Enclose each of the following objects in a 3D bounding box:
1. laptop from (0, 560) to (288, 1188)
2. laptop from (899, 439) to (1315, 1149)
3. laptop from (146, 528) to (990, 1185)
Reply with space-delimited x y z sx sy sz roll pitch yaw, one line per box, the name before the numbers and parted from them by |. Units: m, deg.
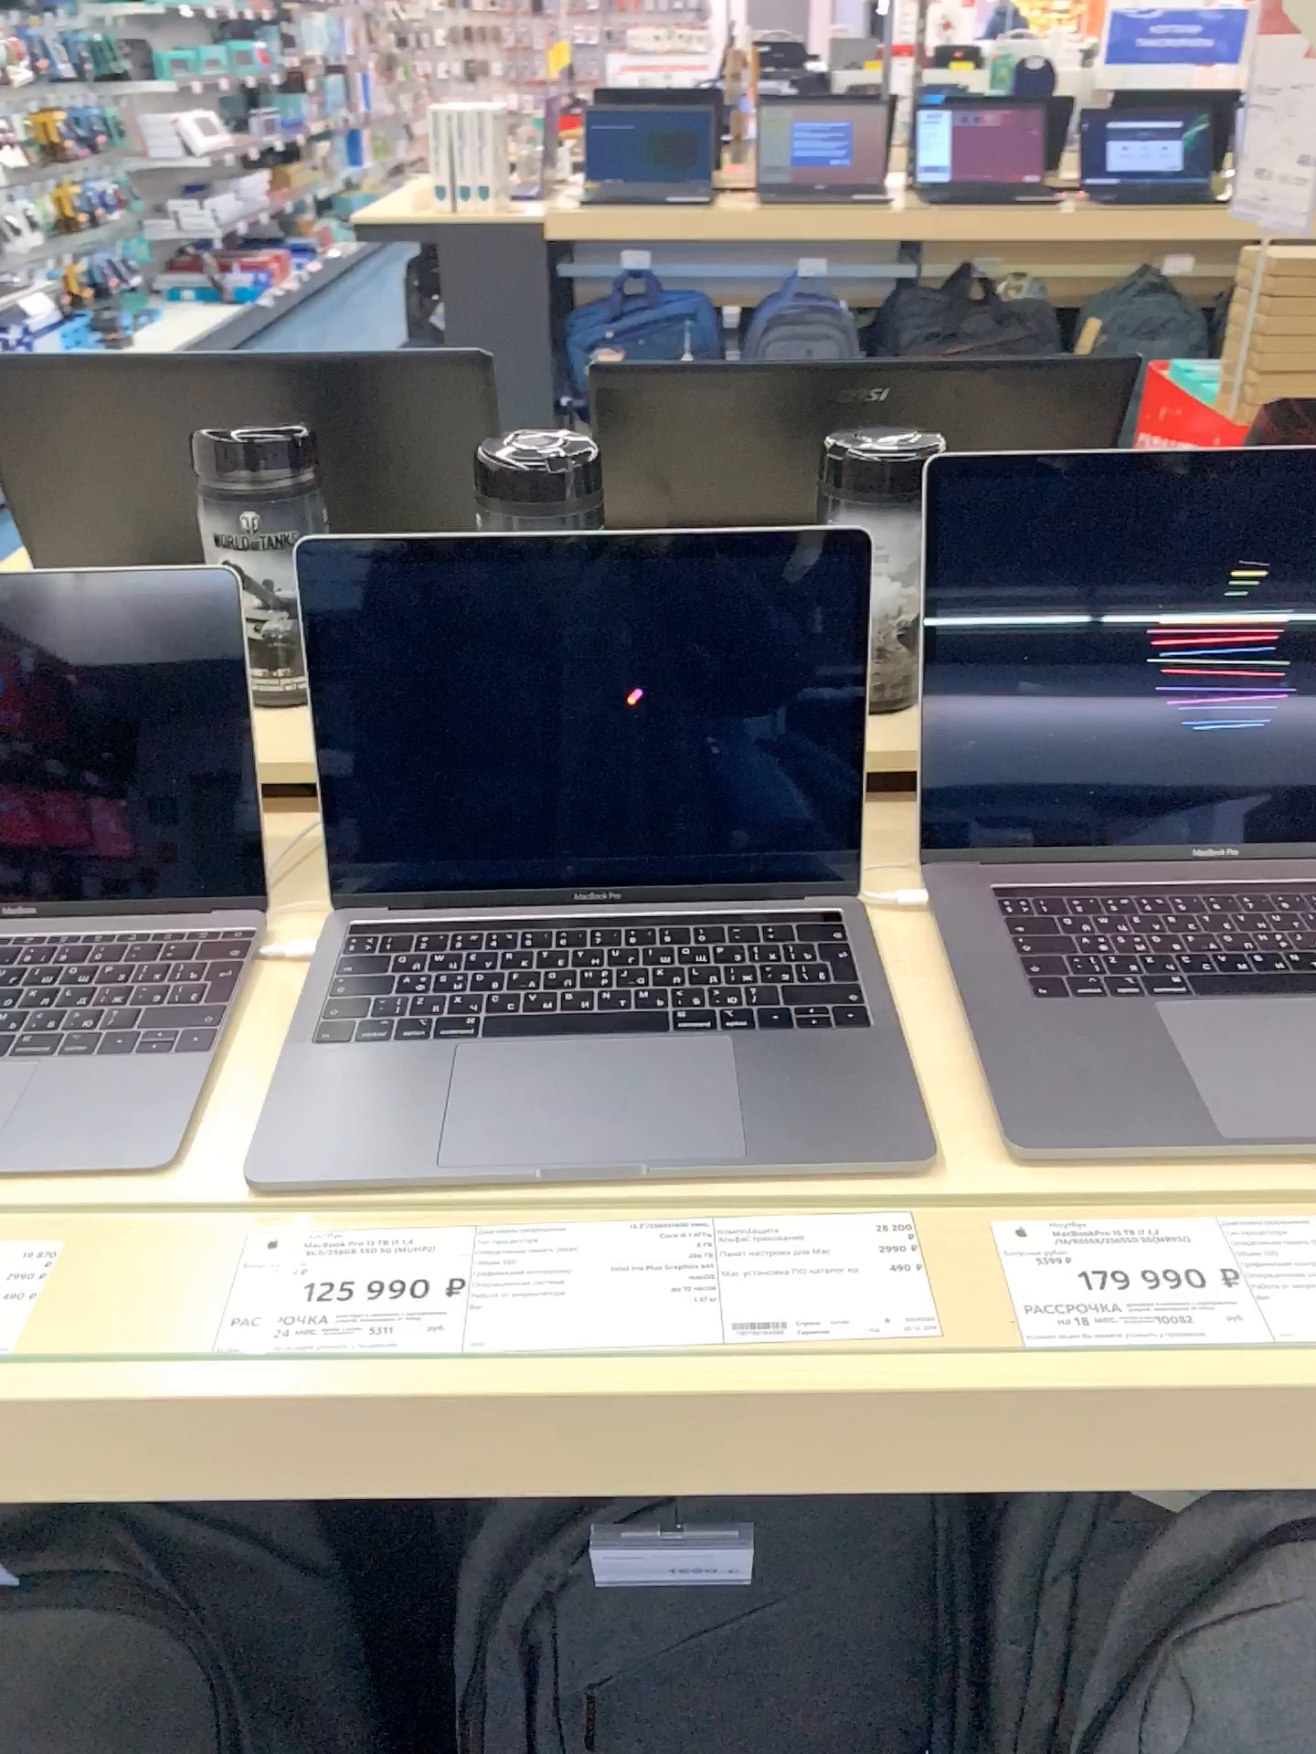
laptop | -0.359 -0.018 0.653 0.280 0.172 0.267 -2 33 -1
laptop | 0.326 -0.063 0.667 0.346 0.210 0.329 -1 32 1
laptop | -0.035 -0.025 0.639 0.299 0.195 0.261 -1 32 -2
